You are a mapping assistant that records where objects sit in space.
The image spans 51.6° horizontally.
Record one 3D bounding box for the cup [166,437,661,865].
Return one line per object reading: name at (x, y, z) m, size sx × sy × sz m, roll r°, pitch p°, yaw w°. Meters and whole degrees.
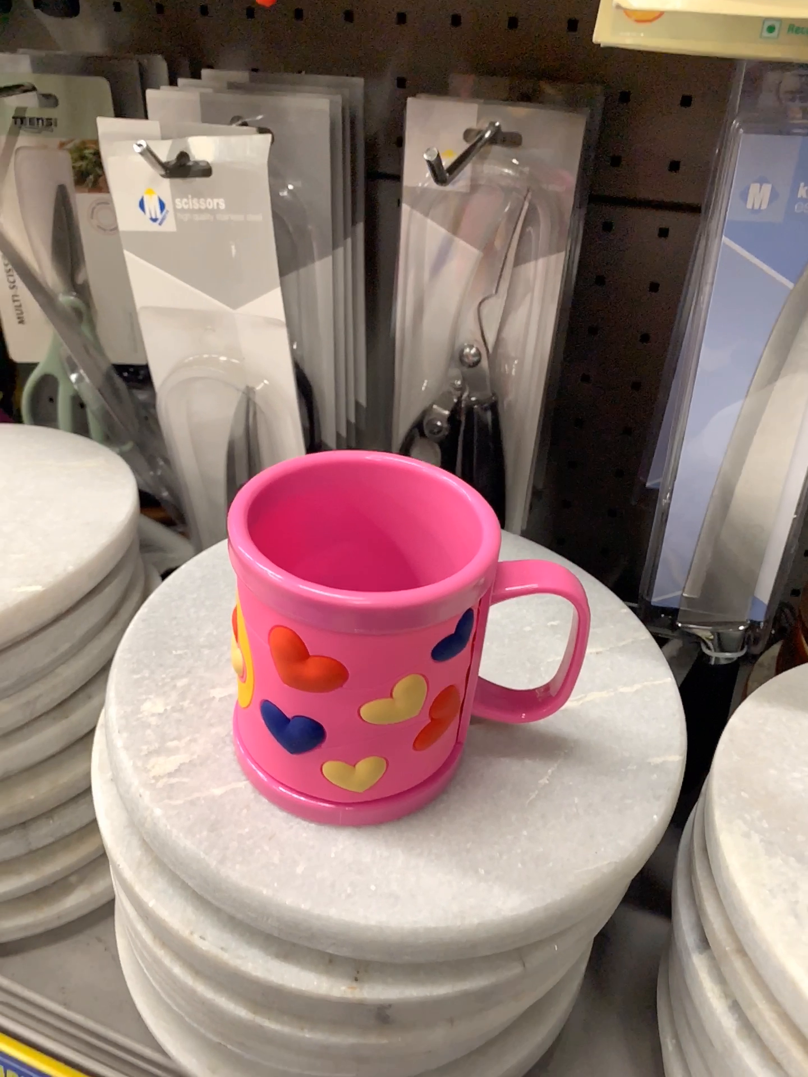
cup at (0.003, 0.033, 0.263) m, size 0.120 × 0.100 × 0.080 m, roll 3°, pitch 34°, yaw 2°
